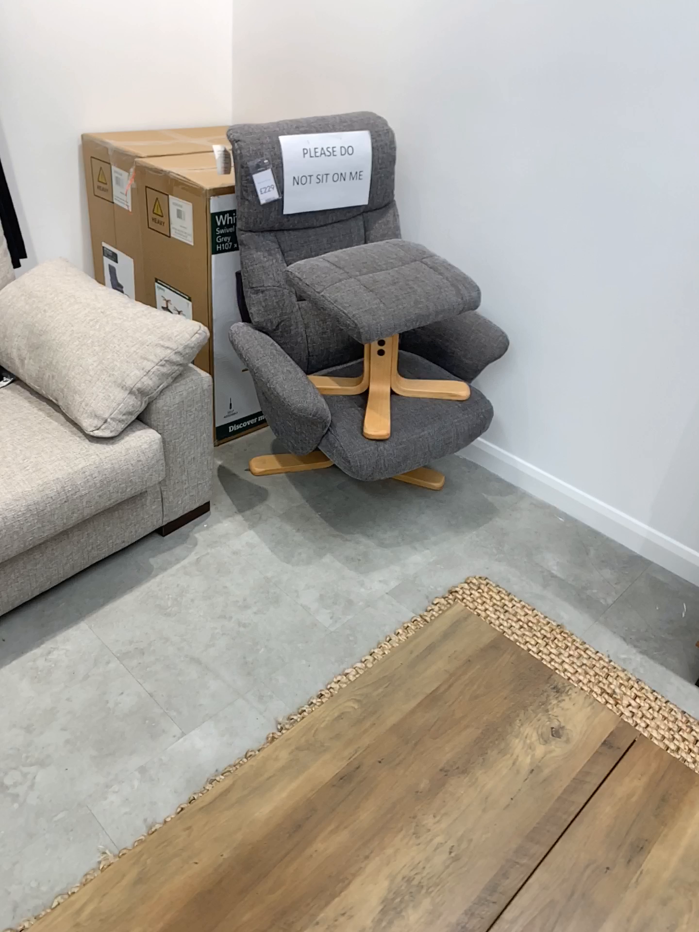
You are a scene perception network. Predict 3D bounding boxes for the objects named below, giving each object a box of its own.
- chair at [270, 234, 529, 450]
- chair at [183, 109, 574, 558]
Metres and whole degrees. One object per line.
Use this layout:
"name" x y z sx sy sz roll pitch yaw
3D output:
"chair" 0.120 -0.373 1.987 0.483 0.351 0.482 -21 42 -34
"chair" 0.024 -0.435 2.087 0.704 0.975 0.723 -22 42 -35
